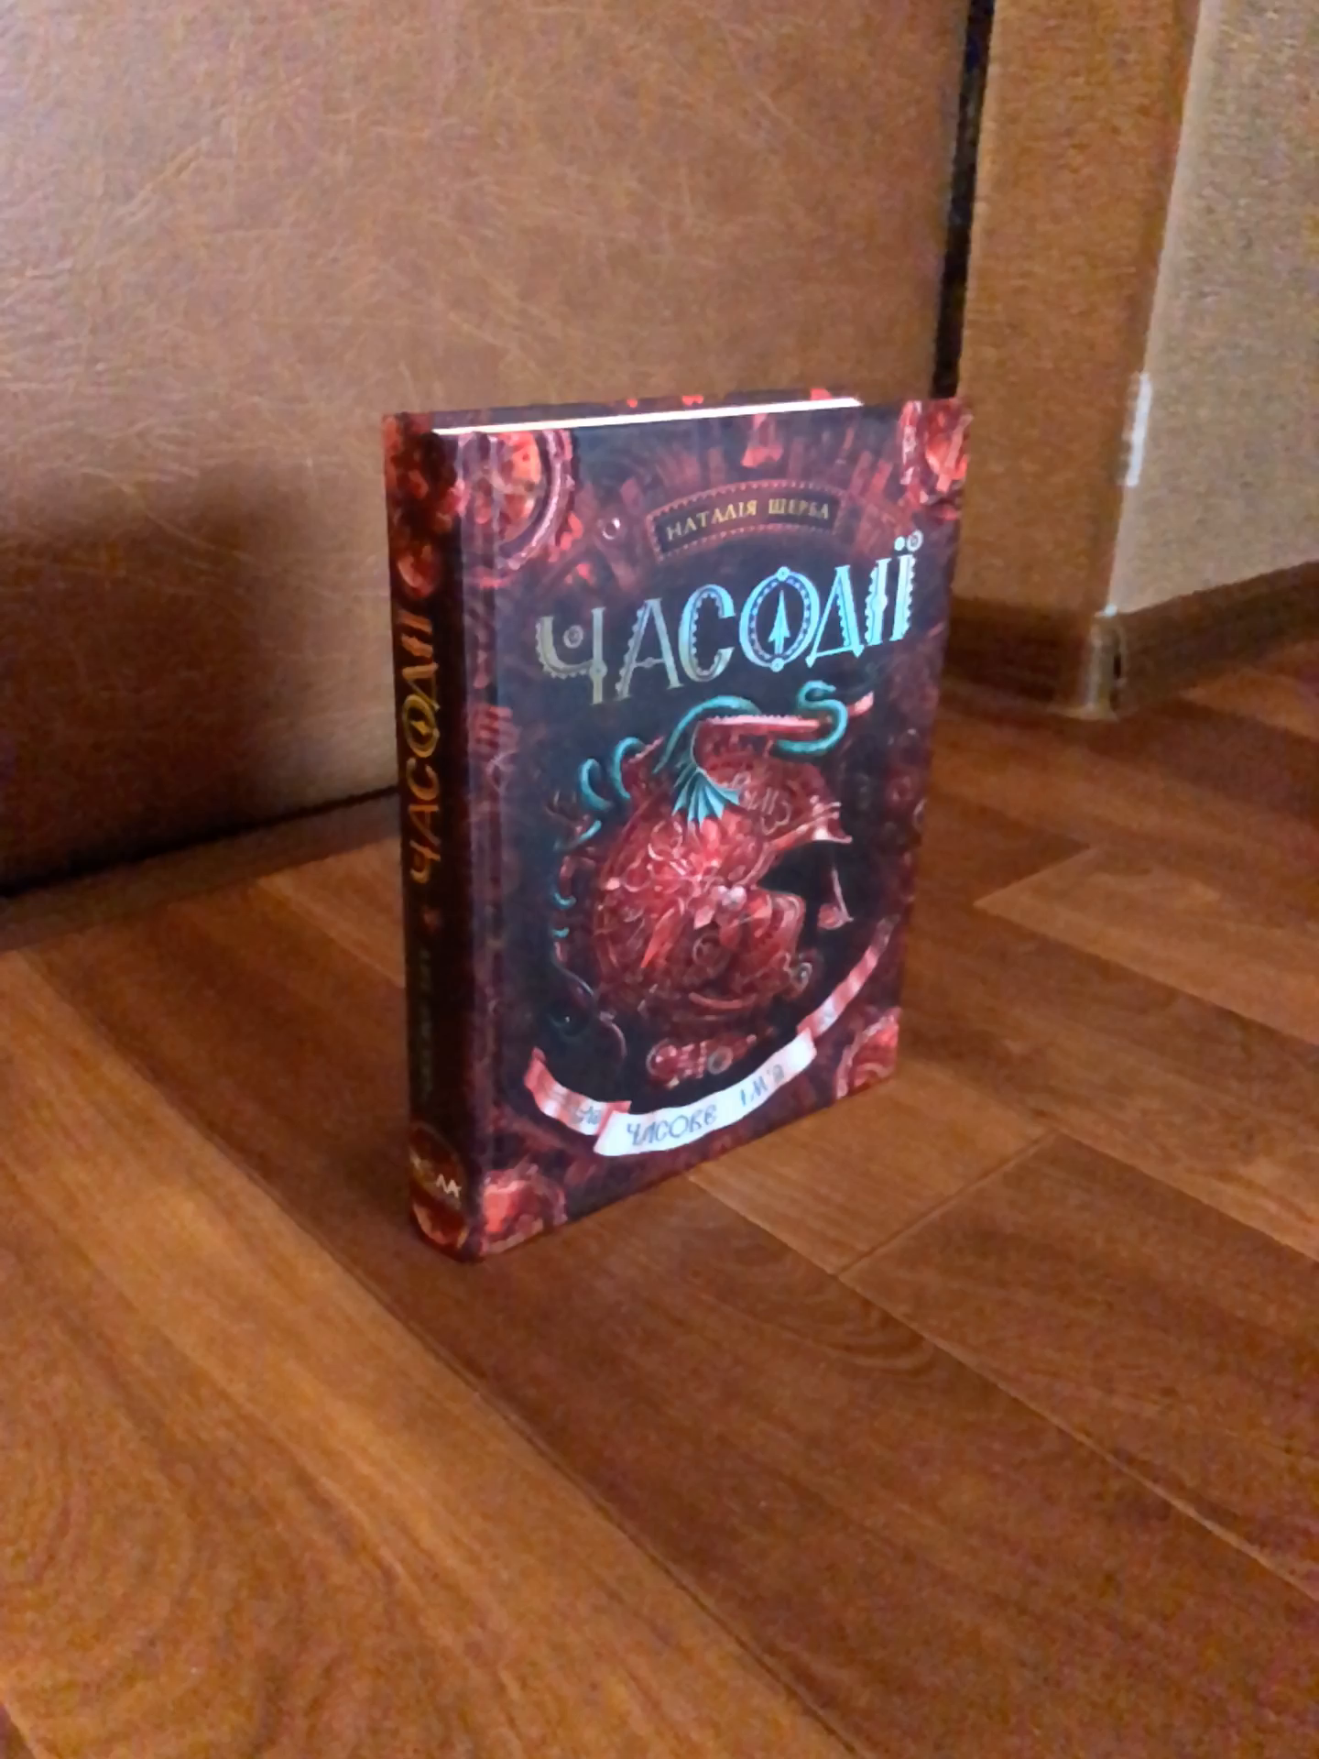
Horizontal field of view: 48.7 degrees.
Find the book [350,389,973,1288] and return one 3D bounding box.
[{"bbox_3d":[0.005,-0.018,0.412,0.171,0.220,0.040,-17,30,-36],"label":"book"}]
